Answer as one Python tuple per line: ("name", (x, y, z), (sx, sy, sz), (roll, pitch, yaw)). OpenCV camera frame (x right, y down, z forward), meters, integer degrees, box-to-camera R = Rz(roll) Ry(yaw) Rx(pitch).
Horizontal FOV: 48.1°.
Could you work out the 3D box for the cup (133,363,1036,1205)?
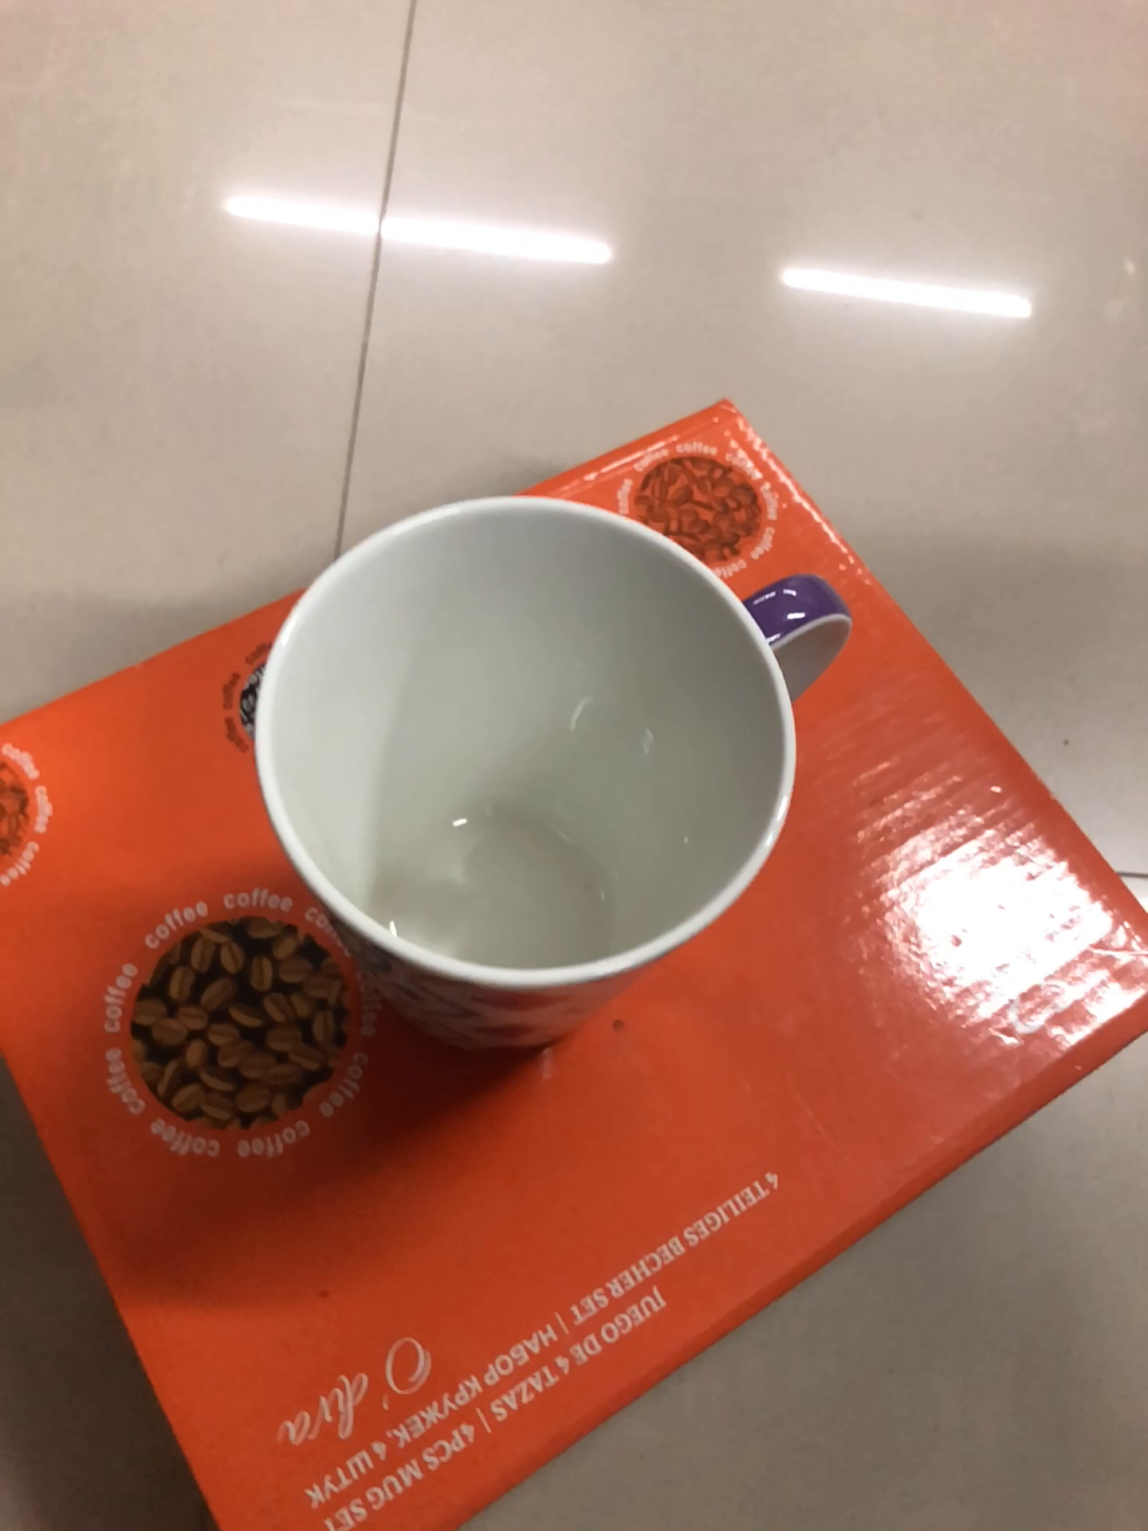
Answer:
("cup", (-0.002, 0.009, 0.238), (0.110, 0.100, 0.080), (-32, 74, -19))
